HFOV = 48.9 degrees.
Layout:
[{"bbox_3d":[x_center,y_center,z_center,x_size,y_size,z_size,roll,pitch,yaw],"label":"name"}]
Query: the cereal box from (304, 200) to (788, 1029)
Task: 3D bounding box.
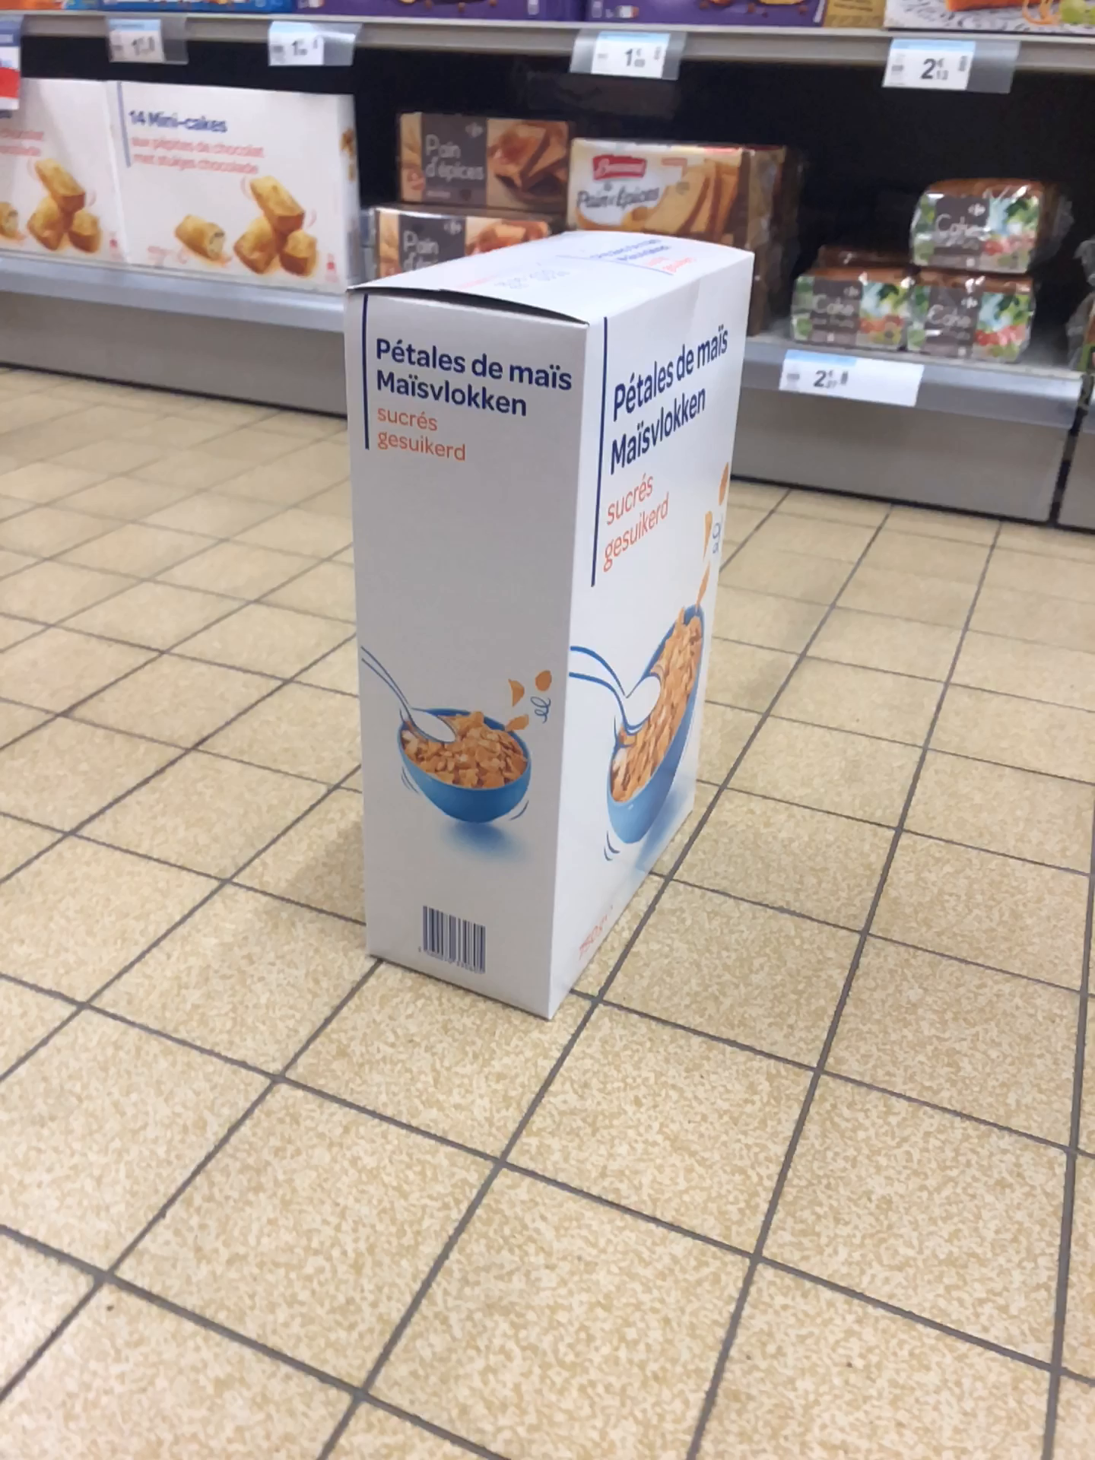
[{"bbox_3d":[0.007,-0.062,0.533,0.110,0.298,0.201,14,30,22],"label":"cereal box"}]
